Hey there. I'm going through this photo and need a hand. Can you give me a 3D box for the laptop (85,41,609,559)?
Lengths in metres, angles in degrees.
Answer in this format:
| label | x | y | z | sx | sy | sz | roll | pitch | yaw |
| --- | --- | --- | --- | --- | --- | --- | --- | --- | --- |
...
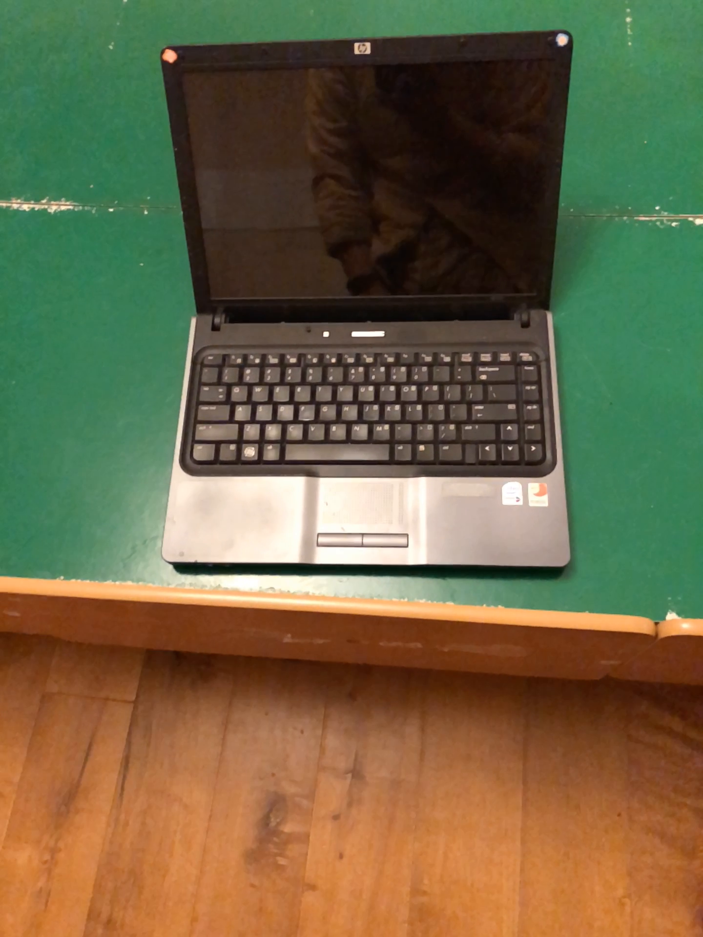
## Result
| label | x | y | z | sx | sy | sz | roll | pitch | yaw |
| --- | --- | --- | --- | --- | --- | --- | --- | --- | --- |
| laptop | 0.007 | -0.134 | 0.626 | 0.323 | 0.173 | 0.375 | 0 | 67 | 5 |
